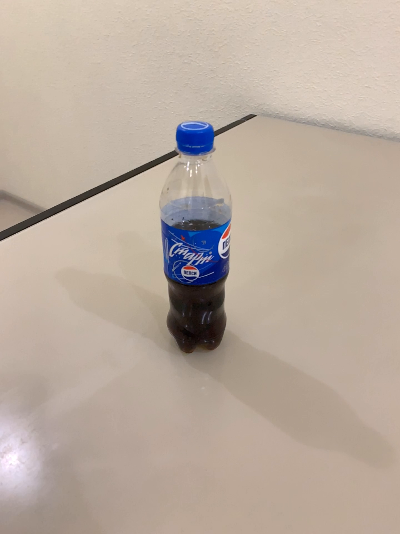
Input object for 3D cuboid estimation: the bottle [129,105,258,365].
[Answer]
[{"bbox_3d":[-0.007,-0.023,0.398,0.080,0.229,0.080,0,36,0],"label":"bottle"}]
